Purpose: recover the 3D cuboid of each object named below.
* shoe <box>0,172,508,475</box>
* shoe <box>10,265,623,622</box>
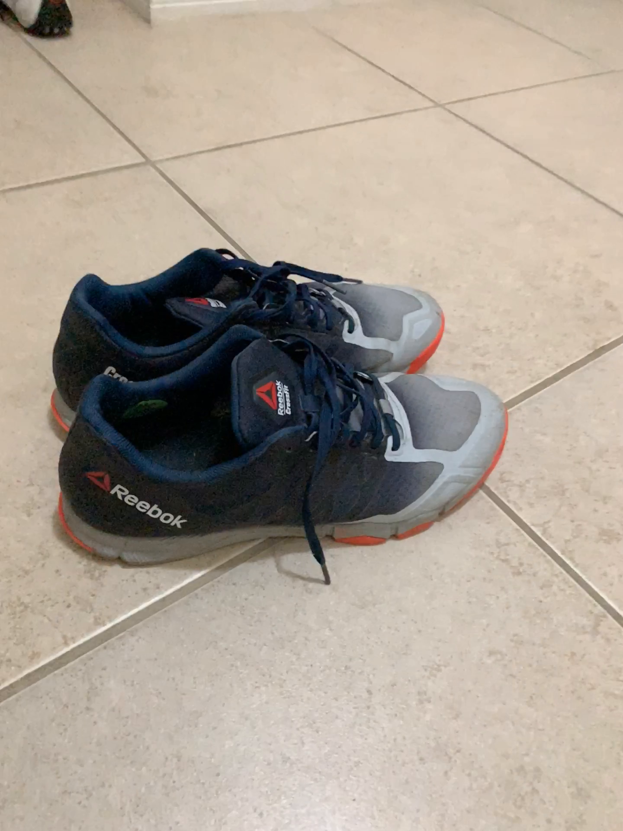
[{"bbox_3d":[-0.034,-0.074,0.449,0.305,0.121,0.105,-14,52,-22],"label":"shoe"},{"bbox_3d":[0.003,0.007,0.388,0.315,0.133,0.109,-8,50,-18],"label":"shoe"}]
